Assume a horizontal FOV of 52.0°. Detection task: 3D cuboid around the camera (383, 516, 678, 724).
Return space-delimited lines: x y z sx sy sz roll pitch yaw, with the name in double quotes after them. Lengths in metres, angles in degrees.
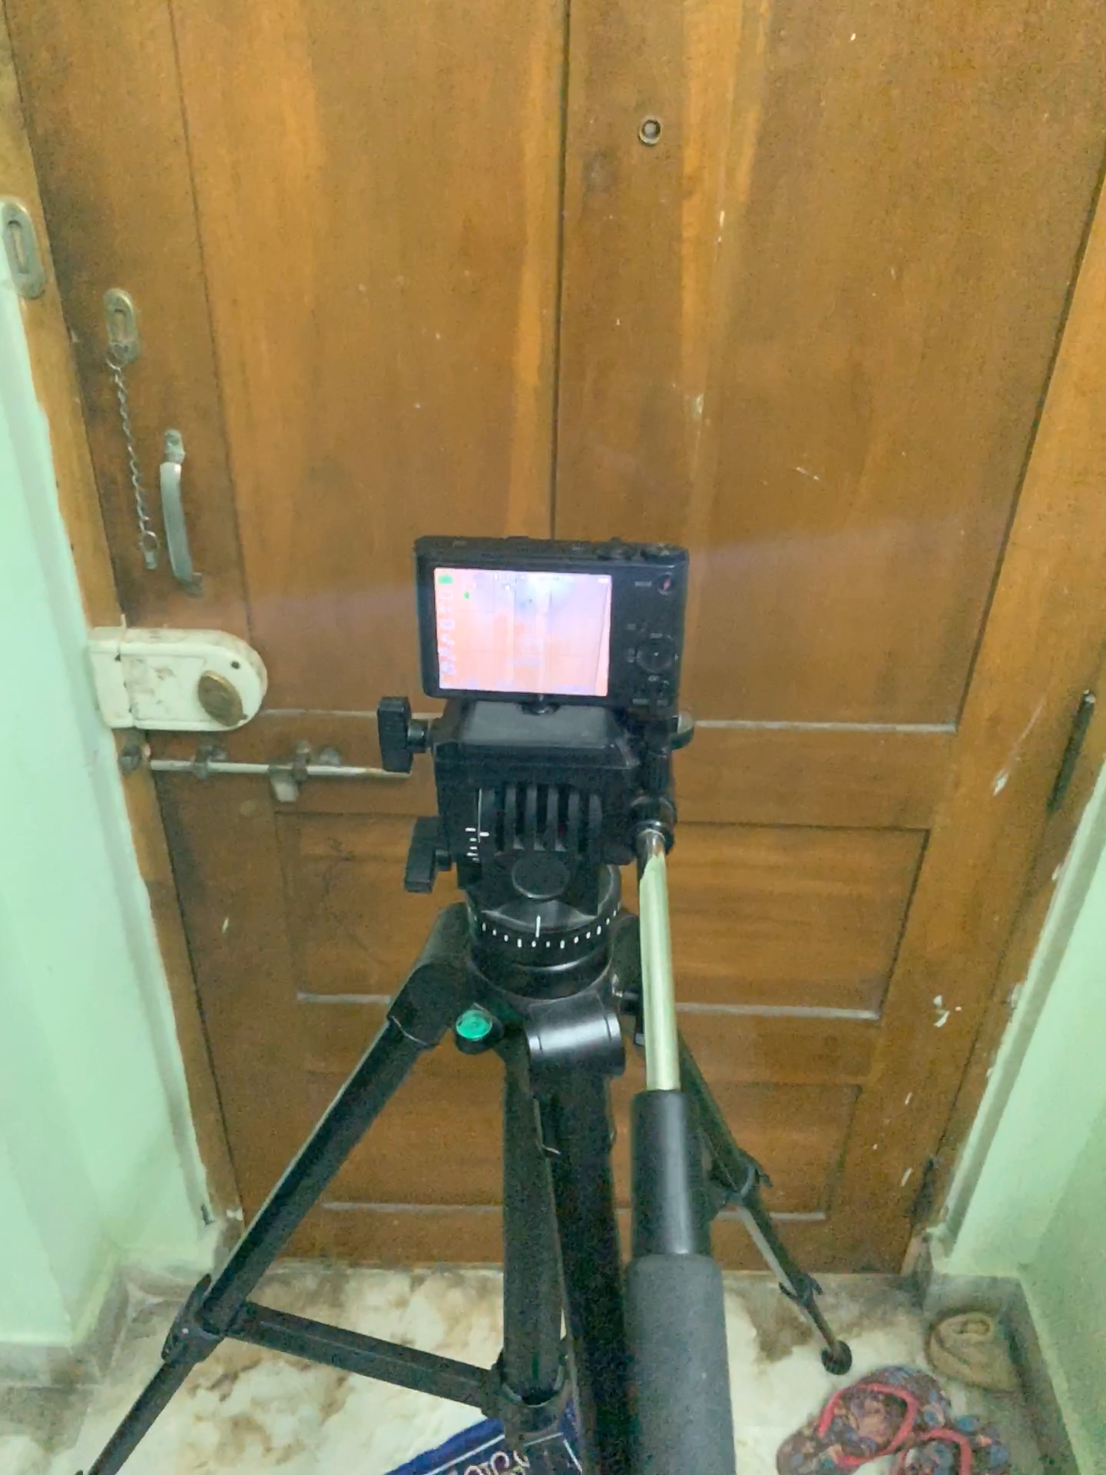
-0.008 -0.044 0.414 0.100 0.060 0.040 3 27 2 "camera"
